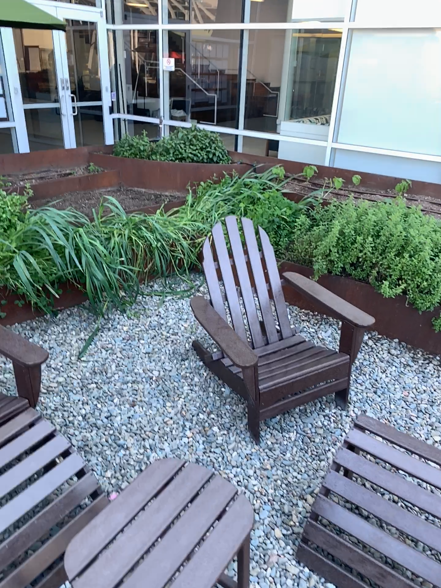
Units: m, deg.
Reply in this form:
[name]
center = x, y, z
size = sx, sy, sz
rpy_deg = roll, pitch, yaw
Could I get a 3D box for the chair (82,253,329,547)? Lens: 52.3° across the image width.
[chair]
center = -0.177, 0.461, 2.416
size = 1.000, 0.994, 1.006
rpy_deg = -5, 28, -15
